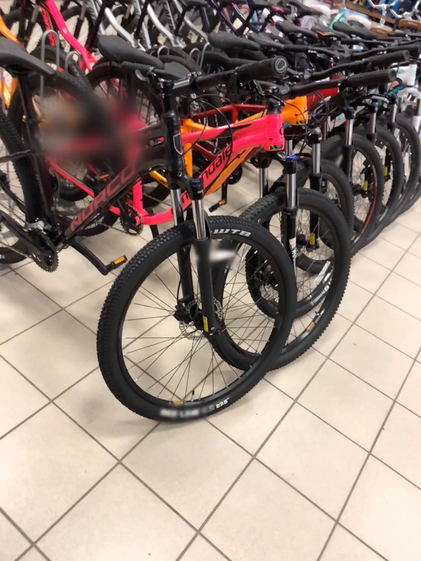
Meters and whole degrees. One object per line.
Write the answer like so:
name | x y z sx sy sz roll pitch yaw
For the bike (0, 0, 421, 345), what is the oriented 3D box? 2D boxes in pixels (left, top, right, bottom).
bike | -0.077 -0.572 1.922 1.564 1.073 0.656 24 38 12

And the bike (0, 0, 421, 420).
bike | -0.337 -0.395 1.662 1.579 1.100 0.688 26 38 10
